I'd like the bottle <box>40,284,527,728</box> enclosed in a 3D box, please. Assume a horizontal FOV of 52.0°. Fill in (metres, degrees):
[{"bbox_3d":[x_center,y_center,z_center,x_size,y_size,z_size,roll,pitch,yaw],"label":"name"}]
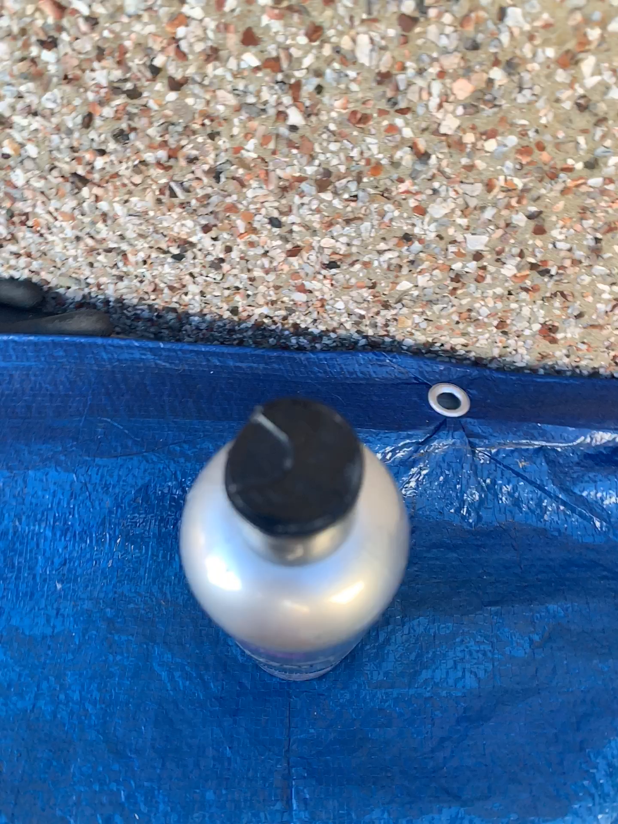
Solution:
[{"bbox_3d":[-0.001,0.052,0.206,0.070,0.199,0.060,22,68,11],"label":"bottle"}]
